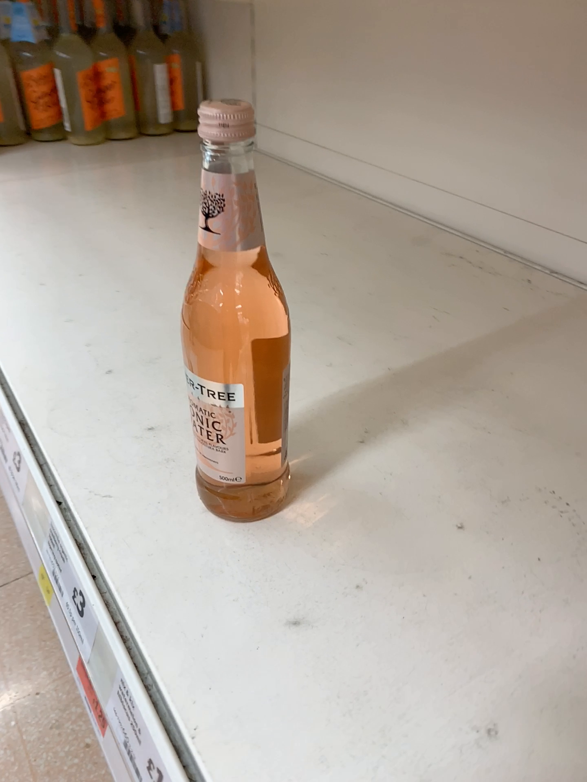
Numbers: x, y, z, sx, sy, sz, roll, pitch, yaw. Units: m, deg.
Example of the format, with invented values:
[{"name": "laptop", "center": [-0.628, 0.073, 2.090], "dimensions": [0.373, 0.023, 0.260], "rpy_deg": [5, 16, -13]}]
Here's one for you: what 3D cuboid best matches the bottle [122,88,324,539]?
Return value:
[{"name": "bottle", "center": [-0.038, -0.036, 0.368], "dimensions": [0.067, 0.253, 0.078], "rpy_deg": [-24, 42, -32]}]
